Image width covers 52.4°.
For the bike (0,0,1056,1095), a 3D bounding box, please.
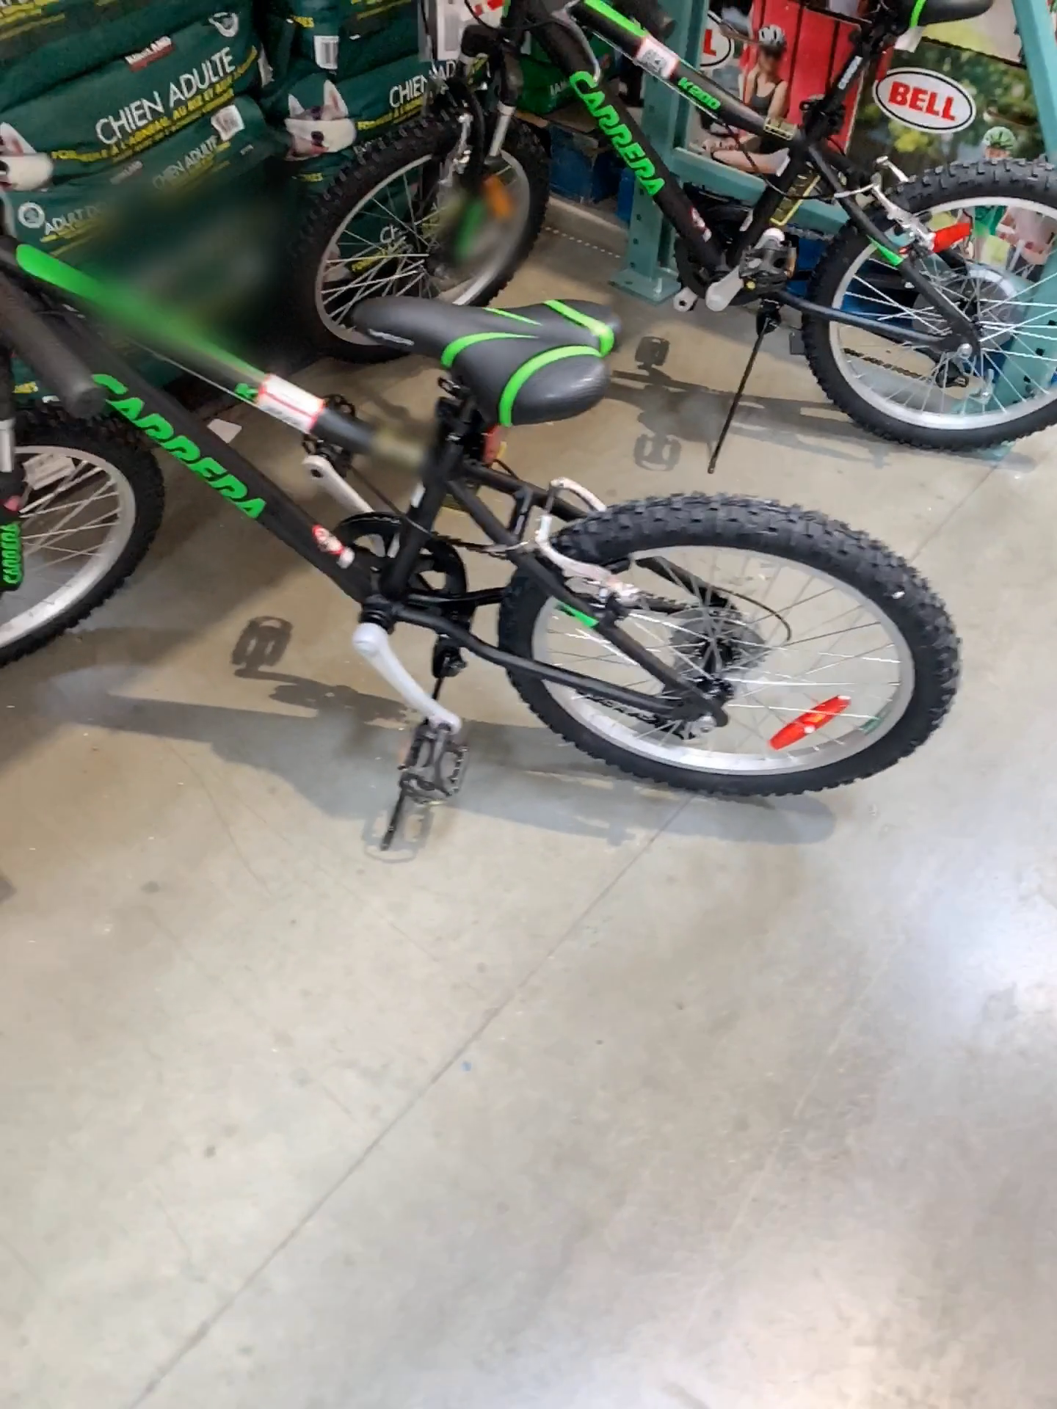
[{"bbox_3d":[-0.190,-0.152,1.013,1.304,0.856,0.711,4,50,-1],"label":"bike"}]
